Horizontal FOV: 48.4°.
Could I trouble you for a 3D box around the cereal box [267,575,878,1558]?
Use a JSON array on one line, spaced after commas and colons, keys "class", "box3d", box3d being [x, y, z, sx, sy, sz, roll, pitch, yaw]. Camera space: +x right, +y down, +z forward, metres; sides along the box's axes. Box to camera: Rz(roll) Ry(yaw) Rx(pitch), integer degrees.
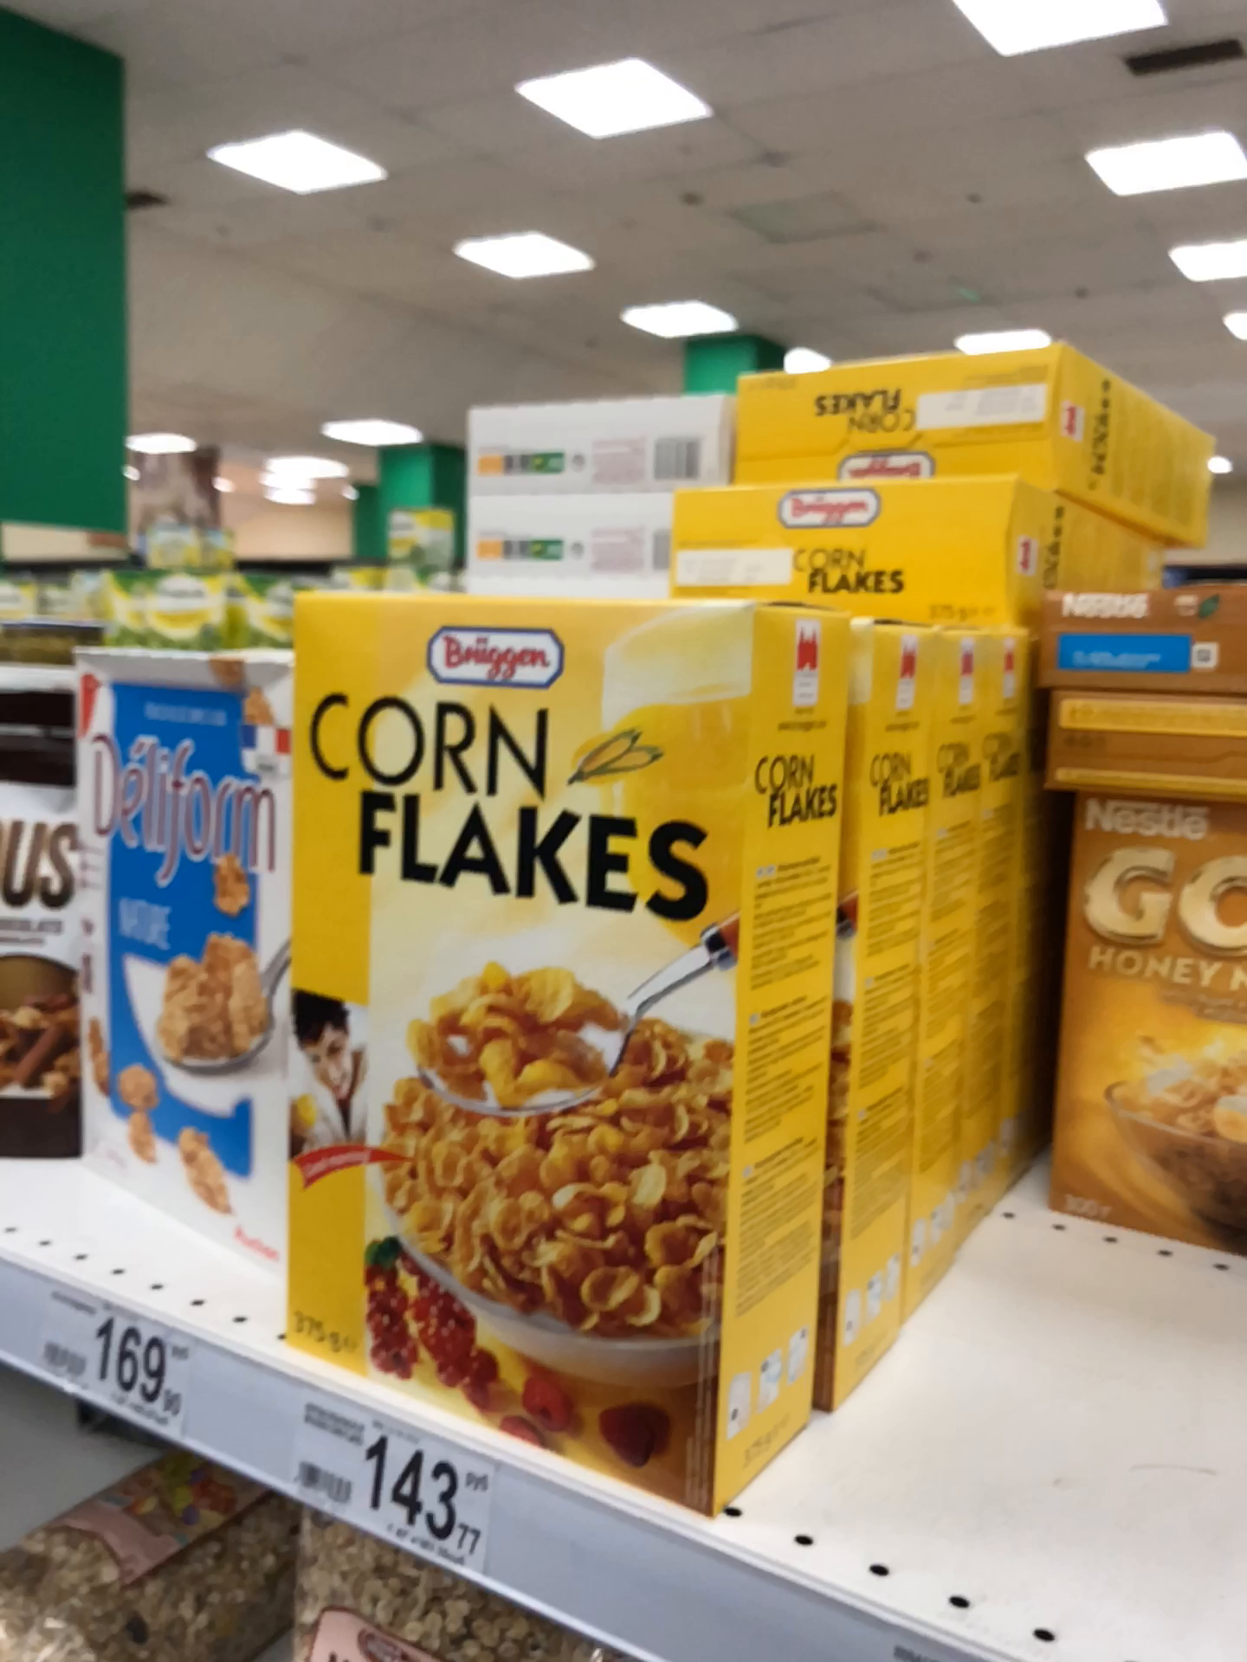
[{"class": "cereal box", "box3d": [-0.026, 0.062, 0.497, 0.200, 0.299, 0.080, 6, 9, 32]}]
